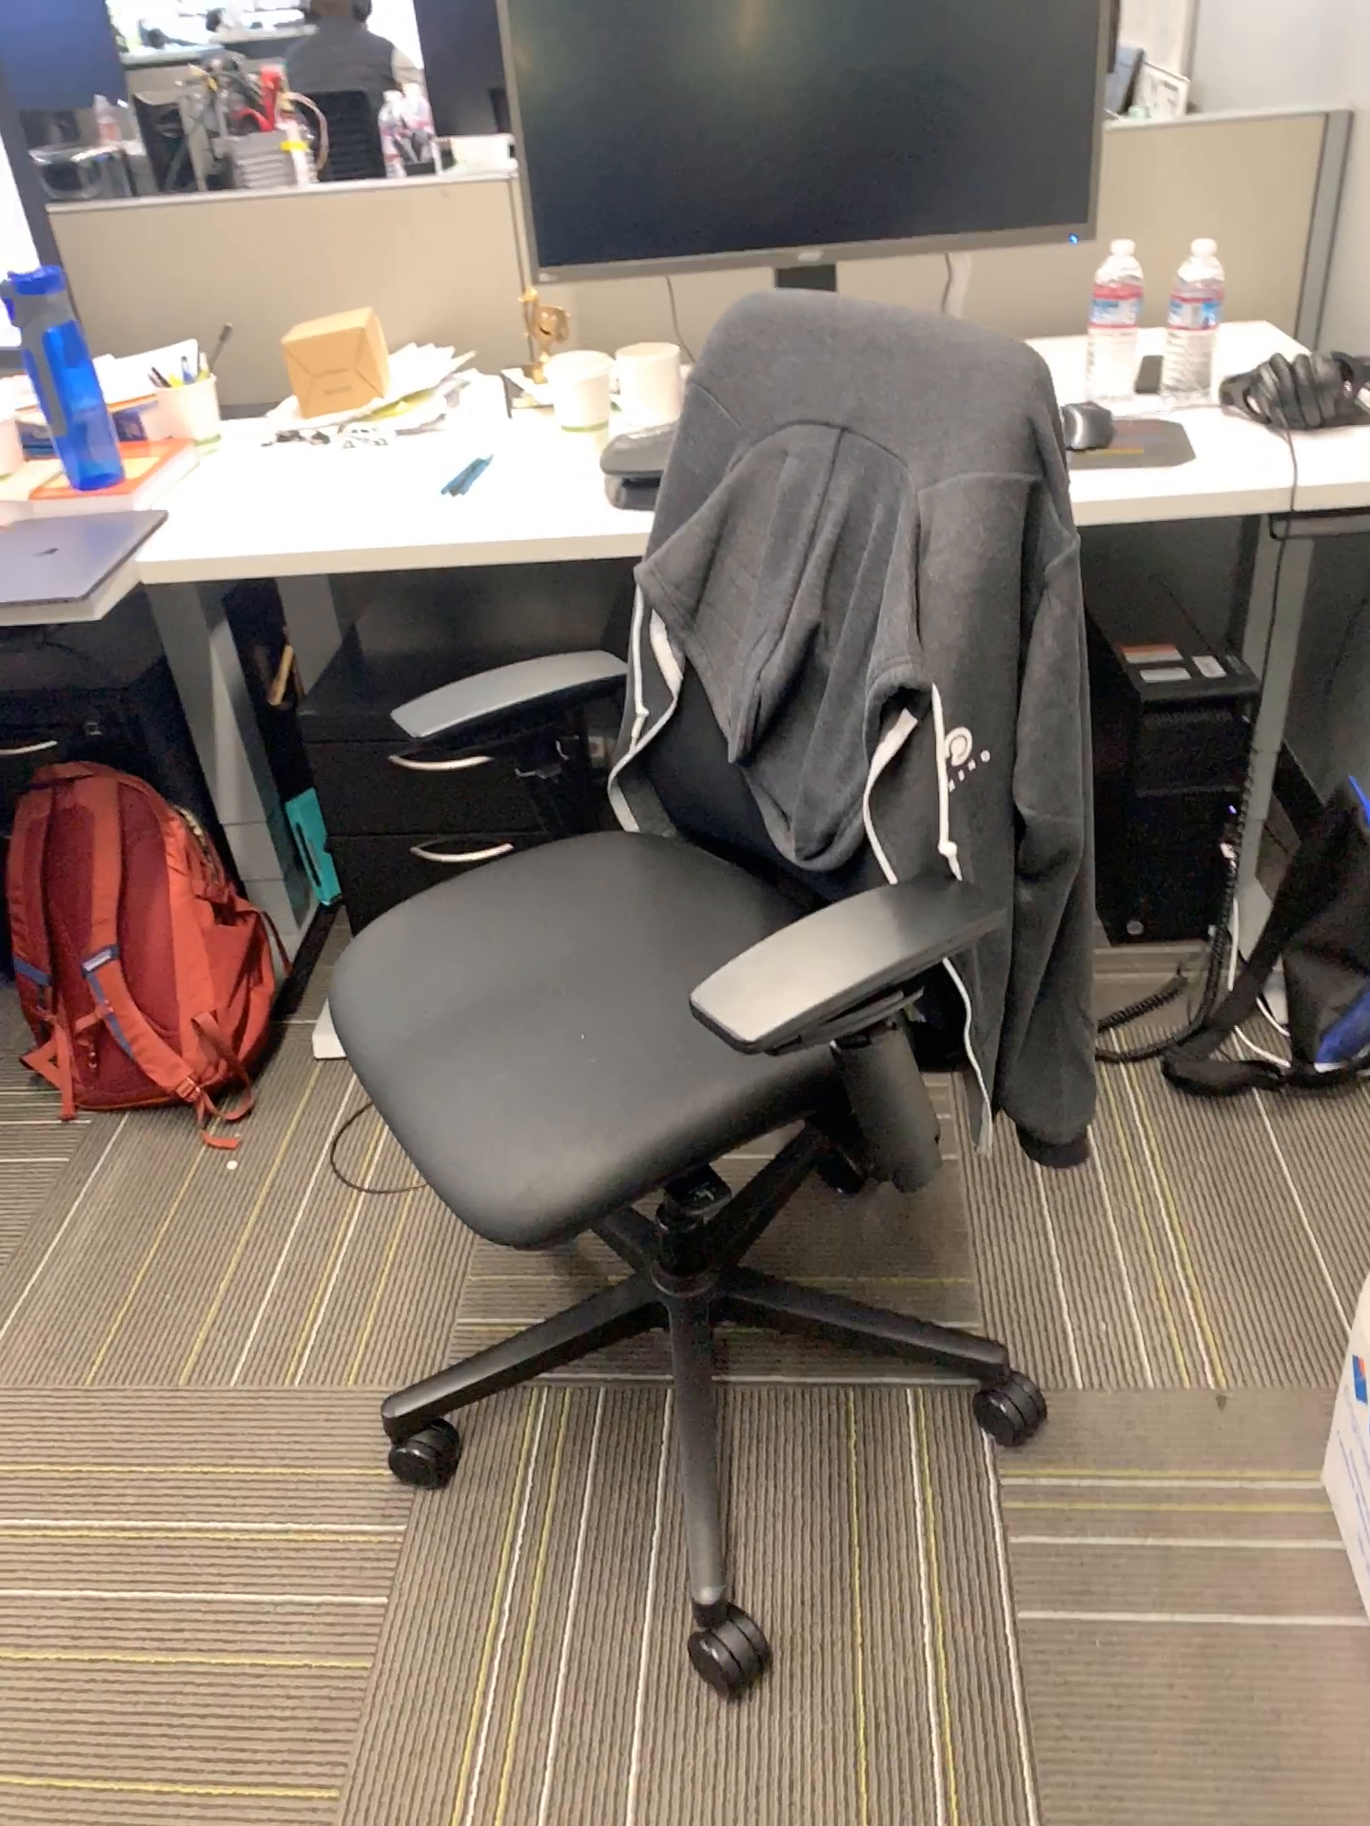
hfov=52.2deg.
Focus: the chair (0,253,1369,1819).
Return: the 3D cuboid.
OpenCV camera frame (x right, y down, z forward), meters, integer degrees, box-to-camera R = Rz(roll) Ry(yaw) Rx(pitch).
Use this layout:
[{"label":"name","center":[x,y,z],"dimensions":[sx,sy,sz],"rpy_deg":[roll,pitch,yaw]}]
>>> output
[{"label":"chair","center":[0.012,0.034,1.289],"dimensions":[0.801,0.994,0.684],"rpy_deg":[-26,39,-27]}]
